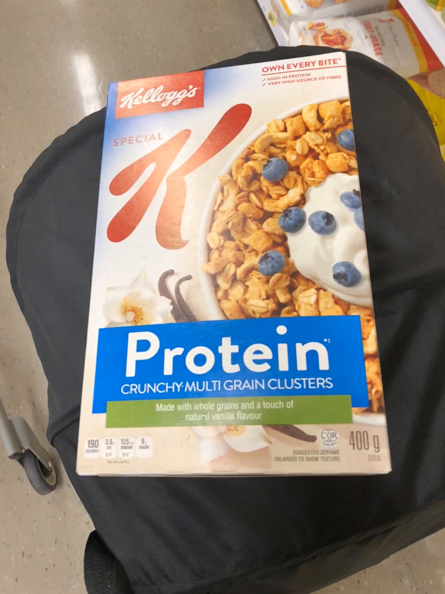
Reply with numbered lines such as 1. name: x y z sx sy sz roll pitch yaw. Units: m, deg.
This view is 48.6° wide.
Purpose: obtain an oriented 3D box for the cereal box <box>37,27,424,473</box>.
1. cereal box: 0.003 -0.034 0.309 0.190 0.050 0.270 -3 69 10
